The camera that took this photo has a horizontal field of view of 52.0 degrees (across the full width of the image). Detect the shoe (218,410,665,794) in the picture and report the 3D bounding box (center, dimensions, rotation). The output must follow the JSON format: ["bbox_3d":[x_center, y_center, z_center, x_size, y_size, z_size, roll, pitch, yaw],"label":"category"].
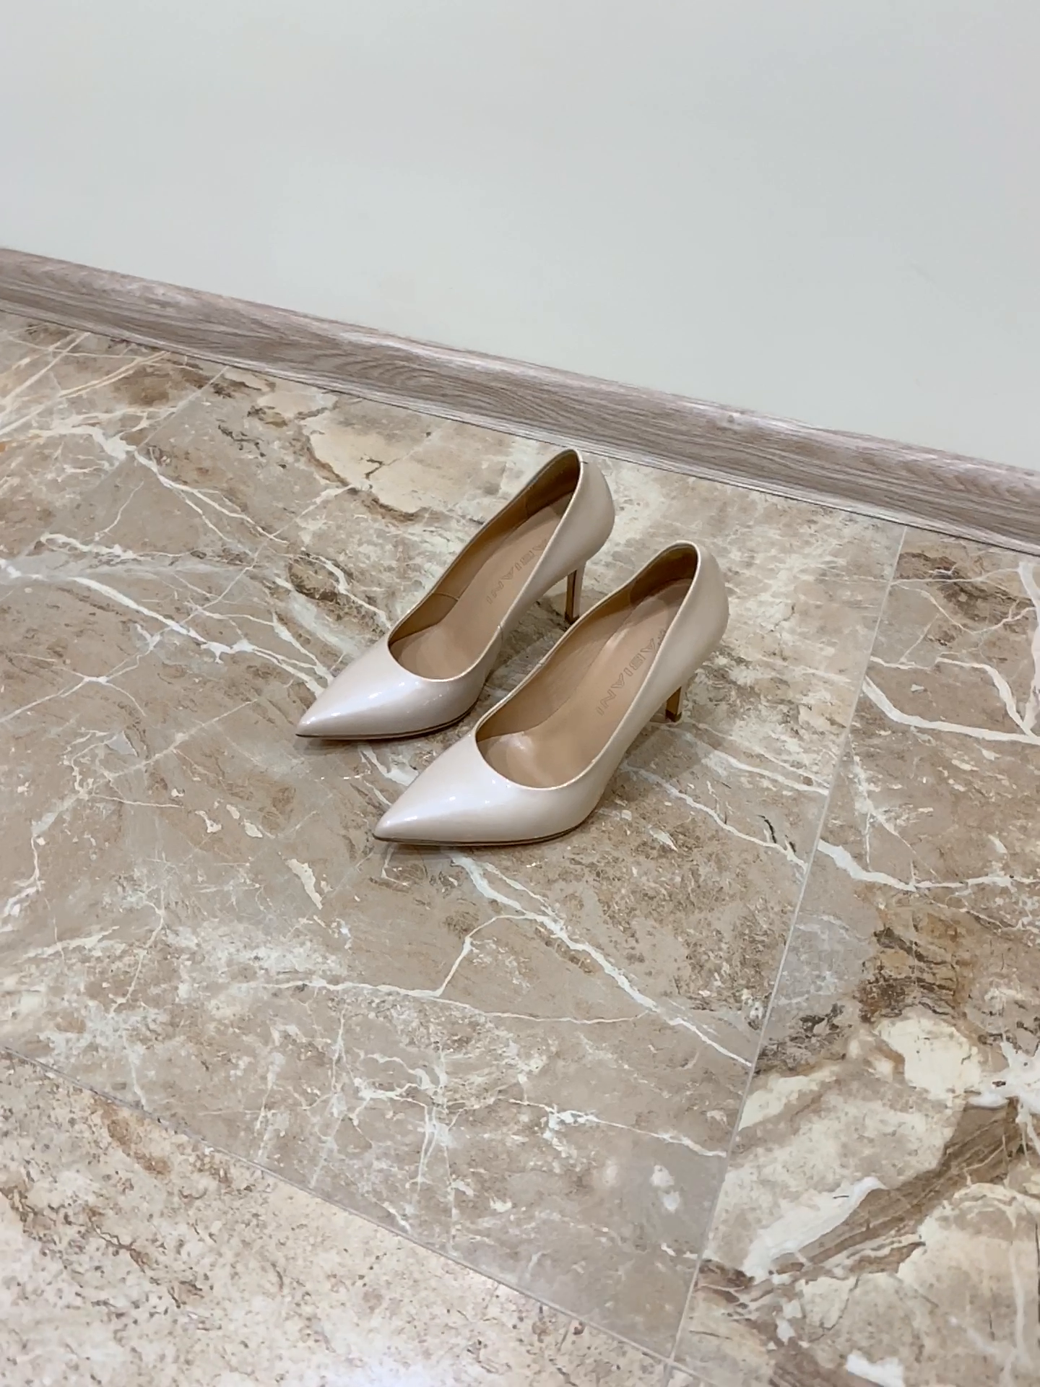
[{"bbox_3d":[-0.040,-0.060,0.646,0.240,0.119,0.090,-27,53,-21],"label":"shoe"}]

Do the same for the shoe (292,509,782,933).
[{"bbox_3d":[0.013,0.010,0.583,0.240,0.109,0.090,-27,53,-21],"label":"shoe"}]
